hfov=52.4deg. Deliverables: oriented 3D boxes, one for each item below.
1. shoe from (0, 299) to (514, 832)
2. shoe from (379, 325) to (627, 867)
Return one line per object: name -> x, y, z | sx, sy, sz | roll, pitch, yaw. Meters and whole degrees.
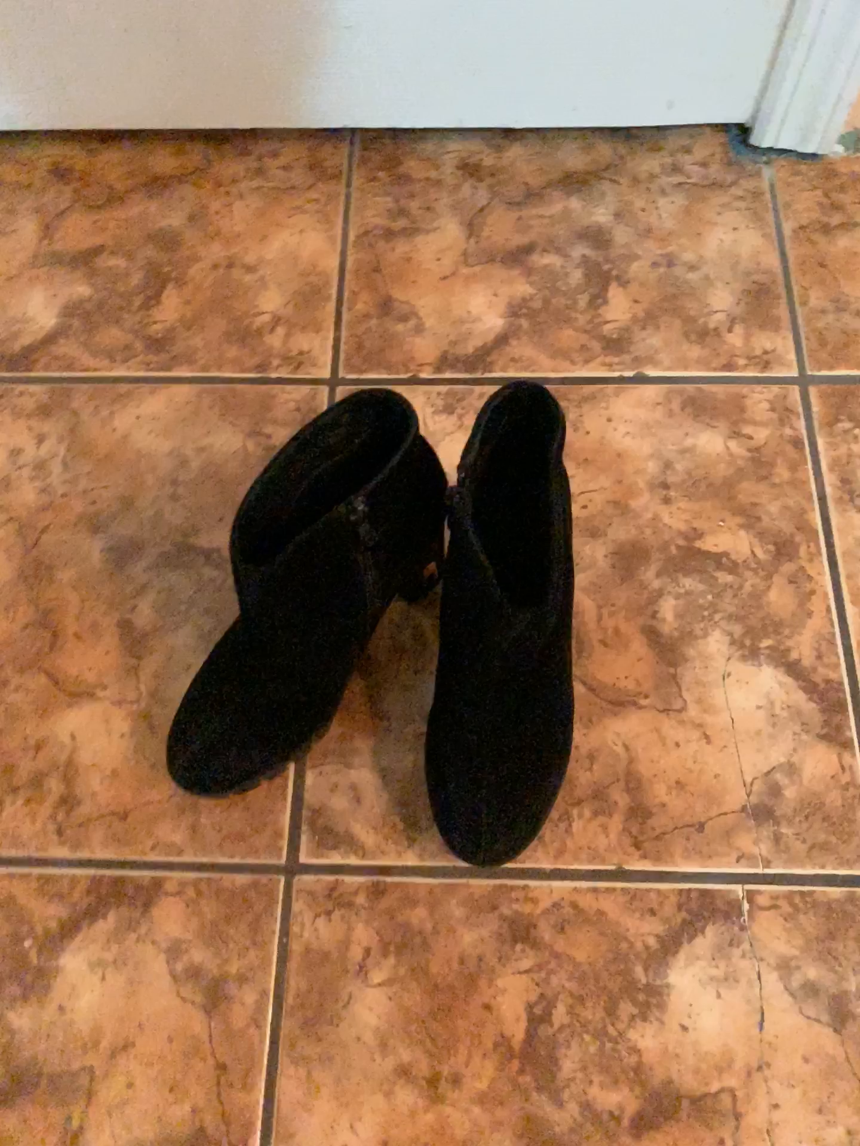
shoe -> -0.069, 0.007, 0.473 | 0.094, 0.180, 0.229 | 39, 73, 18
shoe -> 0.040, 0.022, 0.461 | 0.094, 0.180, 0.230 | 3, 66, 4
